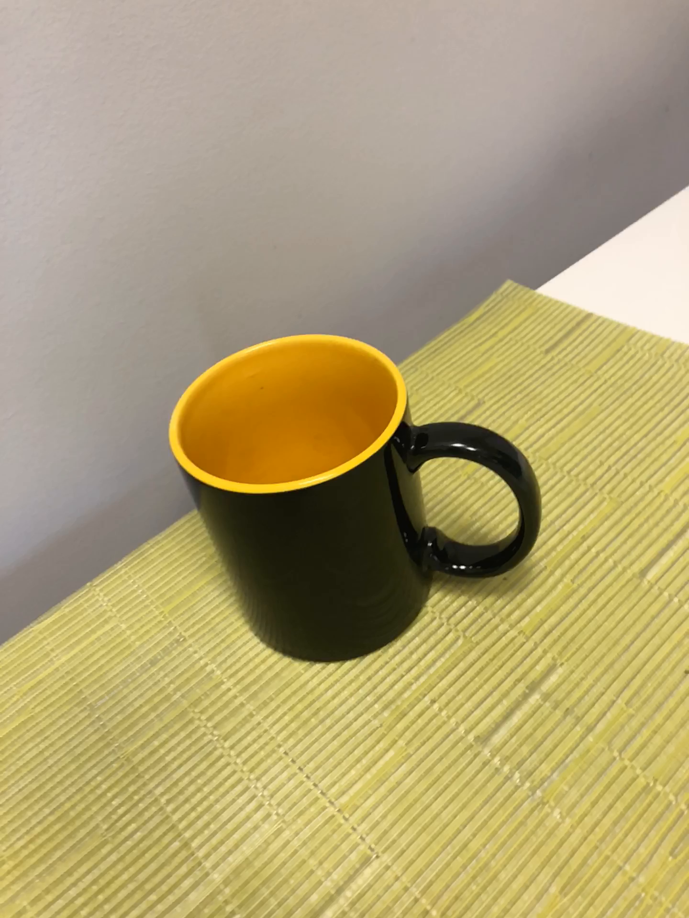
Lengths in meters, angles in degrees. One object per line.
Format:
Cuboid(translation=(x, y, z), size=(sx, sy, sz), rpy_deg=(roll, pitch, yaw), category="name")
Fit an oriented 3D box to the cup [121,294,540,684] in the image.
Cuboid(translation=(0.006, 0.014, 0.280), size=(0.119, 0.104, 0.089), rpy_deg=(-2, 43, 11), category="cup")
